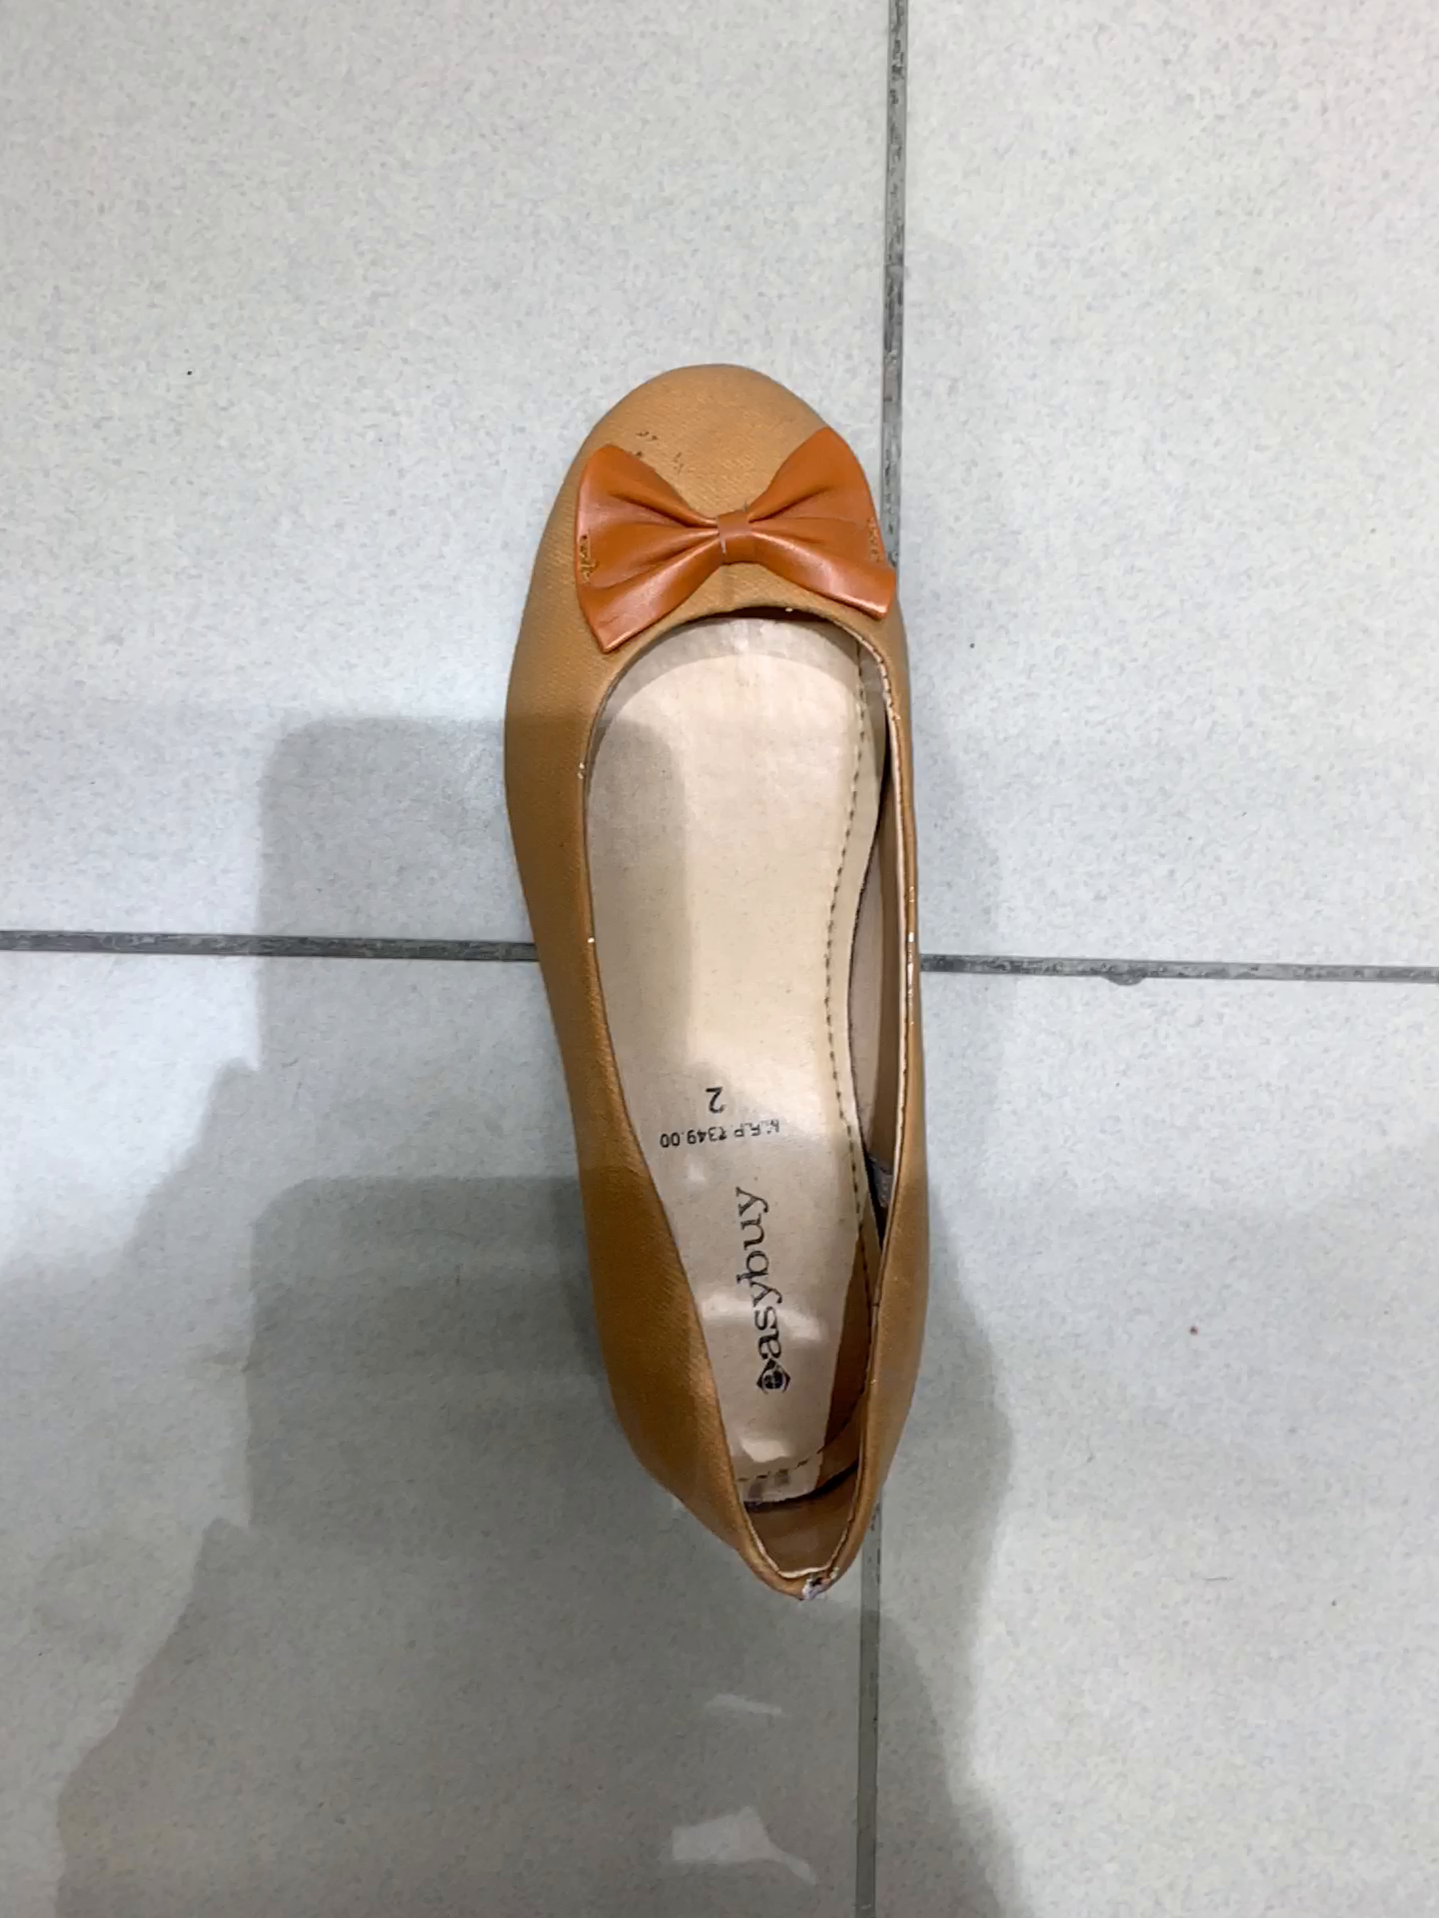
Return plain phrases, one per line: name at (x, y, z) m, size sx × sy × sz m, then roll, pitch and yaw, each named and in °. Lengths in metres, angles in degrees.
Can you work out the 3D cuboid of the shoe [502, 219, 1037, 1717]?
shoe at (0.004, 0.001, 0.258) m, size 0.080 × 0.070 × 0.220 m, roll 0°, pitch 89°, yaw -7°
